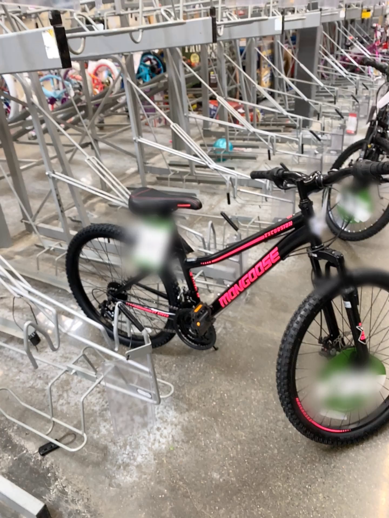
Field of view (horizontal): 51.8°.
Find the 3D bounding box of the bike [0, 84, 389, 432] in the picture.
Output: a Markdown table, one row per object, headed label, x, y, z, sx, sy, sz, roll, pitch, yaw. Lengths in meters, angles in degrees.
| label | x | y | z | sx | sy | sz | roll | pitch | yaw |
| --- | --- | --- | --- | --- | --- | --- | --- | --- | --- |
| bike | 0.087 | -0.049 | 1.515 | 1.400 | 0.963 | 0.642 | 5 | 32 | 18 |
